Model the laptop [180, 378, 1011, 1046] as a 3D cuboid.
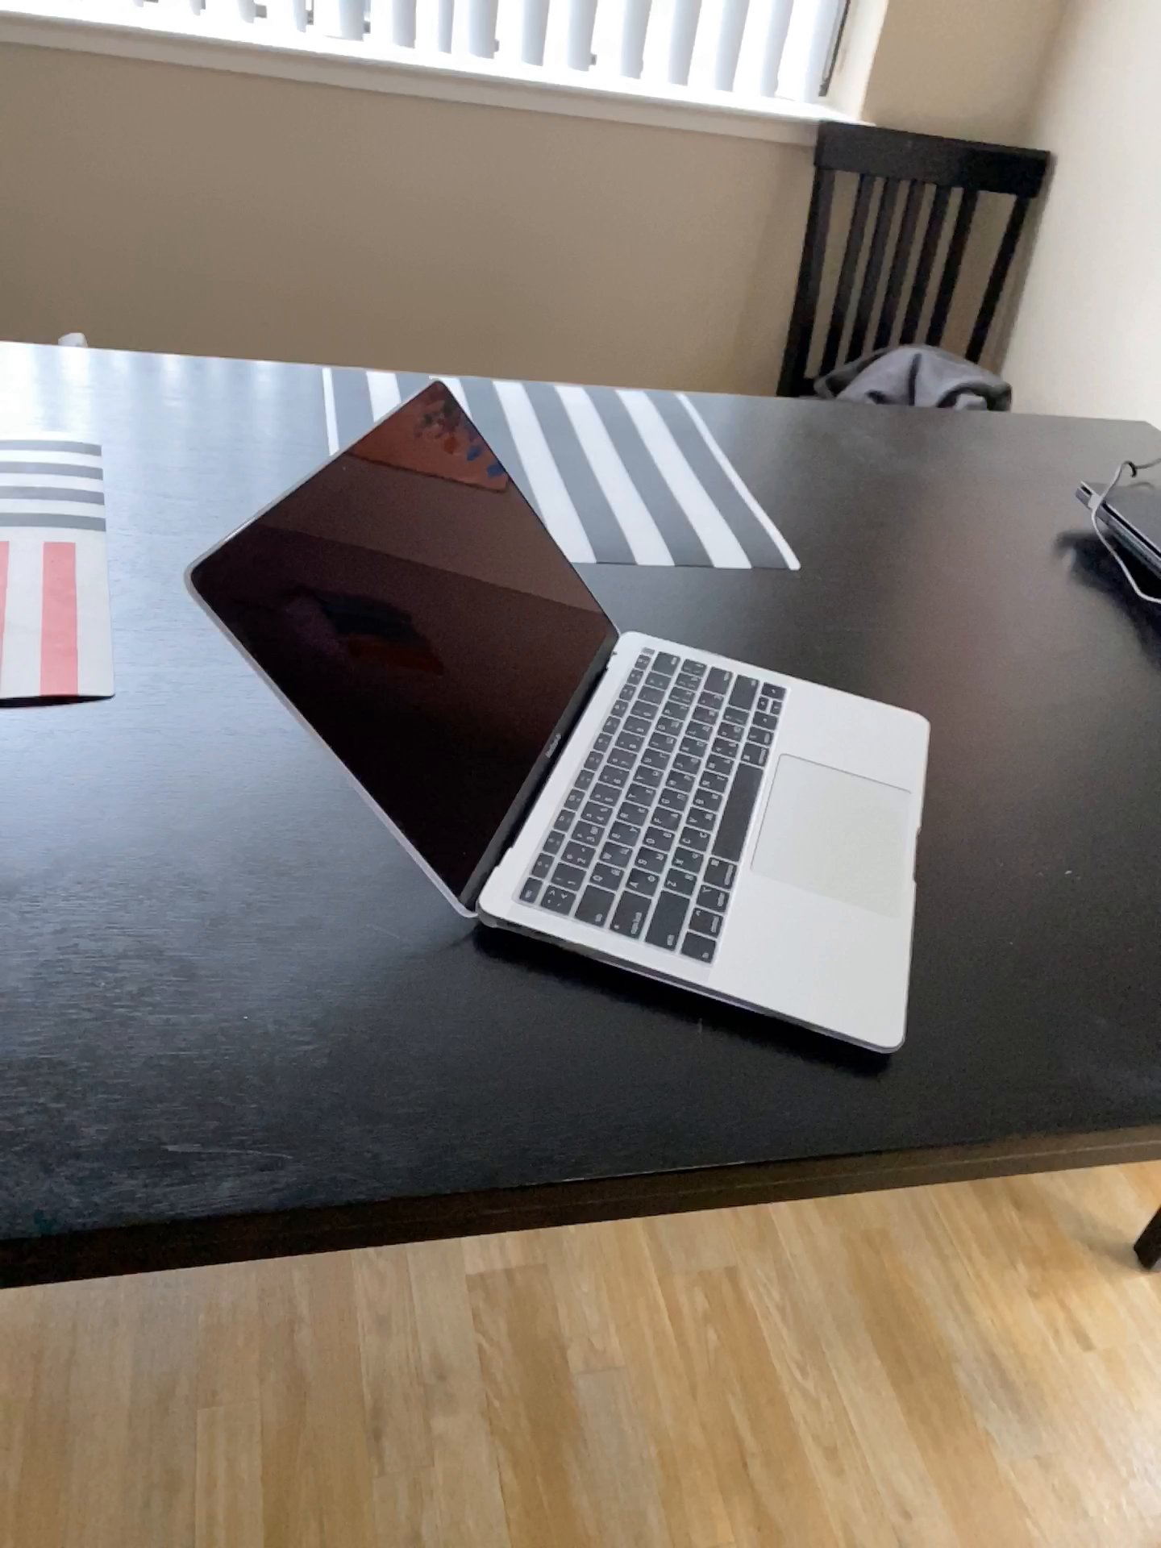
[{"bbox_3d":[0.028,-0.062,0.648,0.361,0.139,0.298,16,38,7],"label":"laptop"}]
